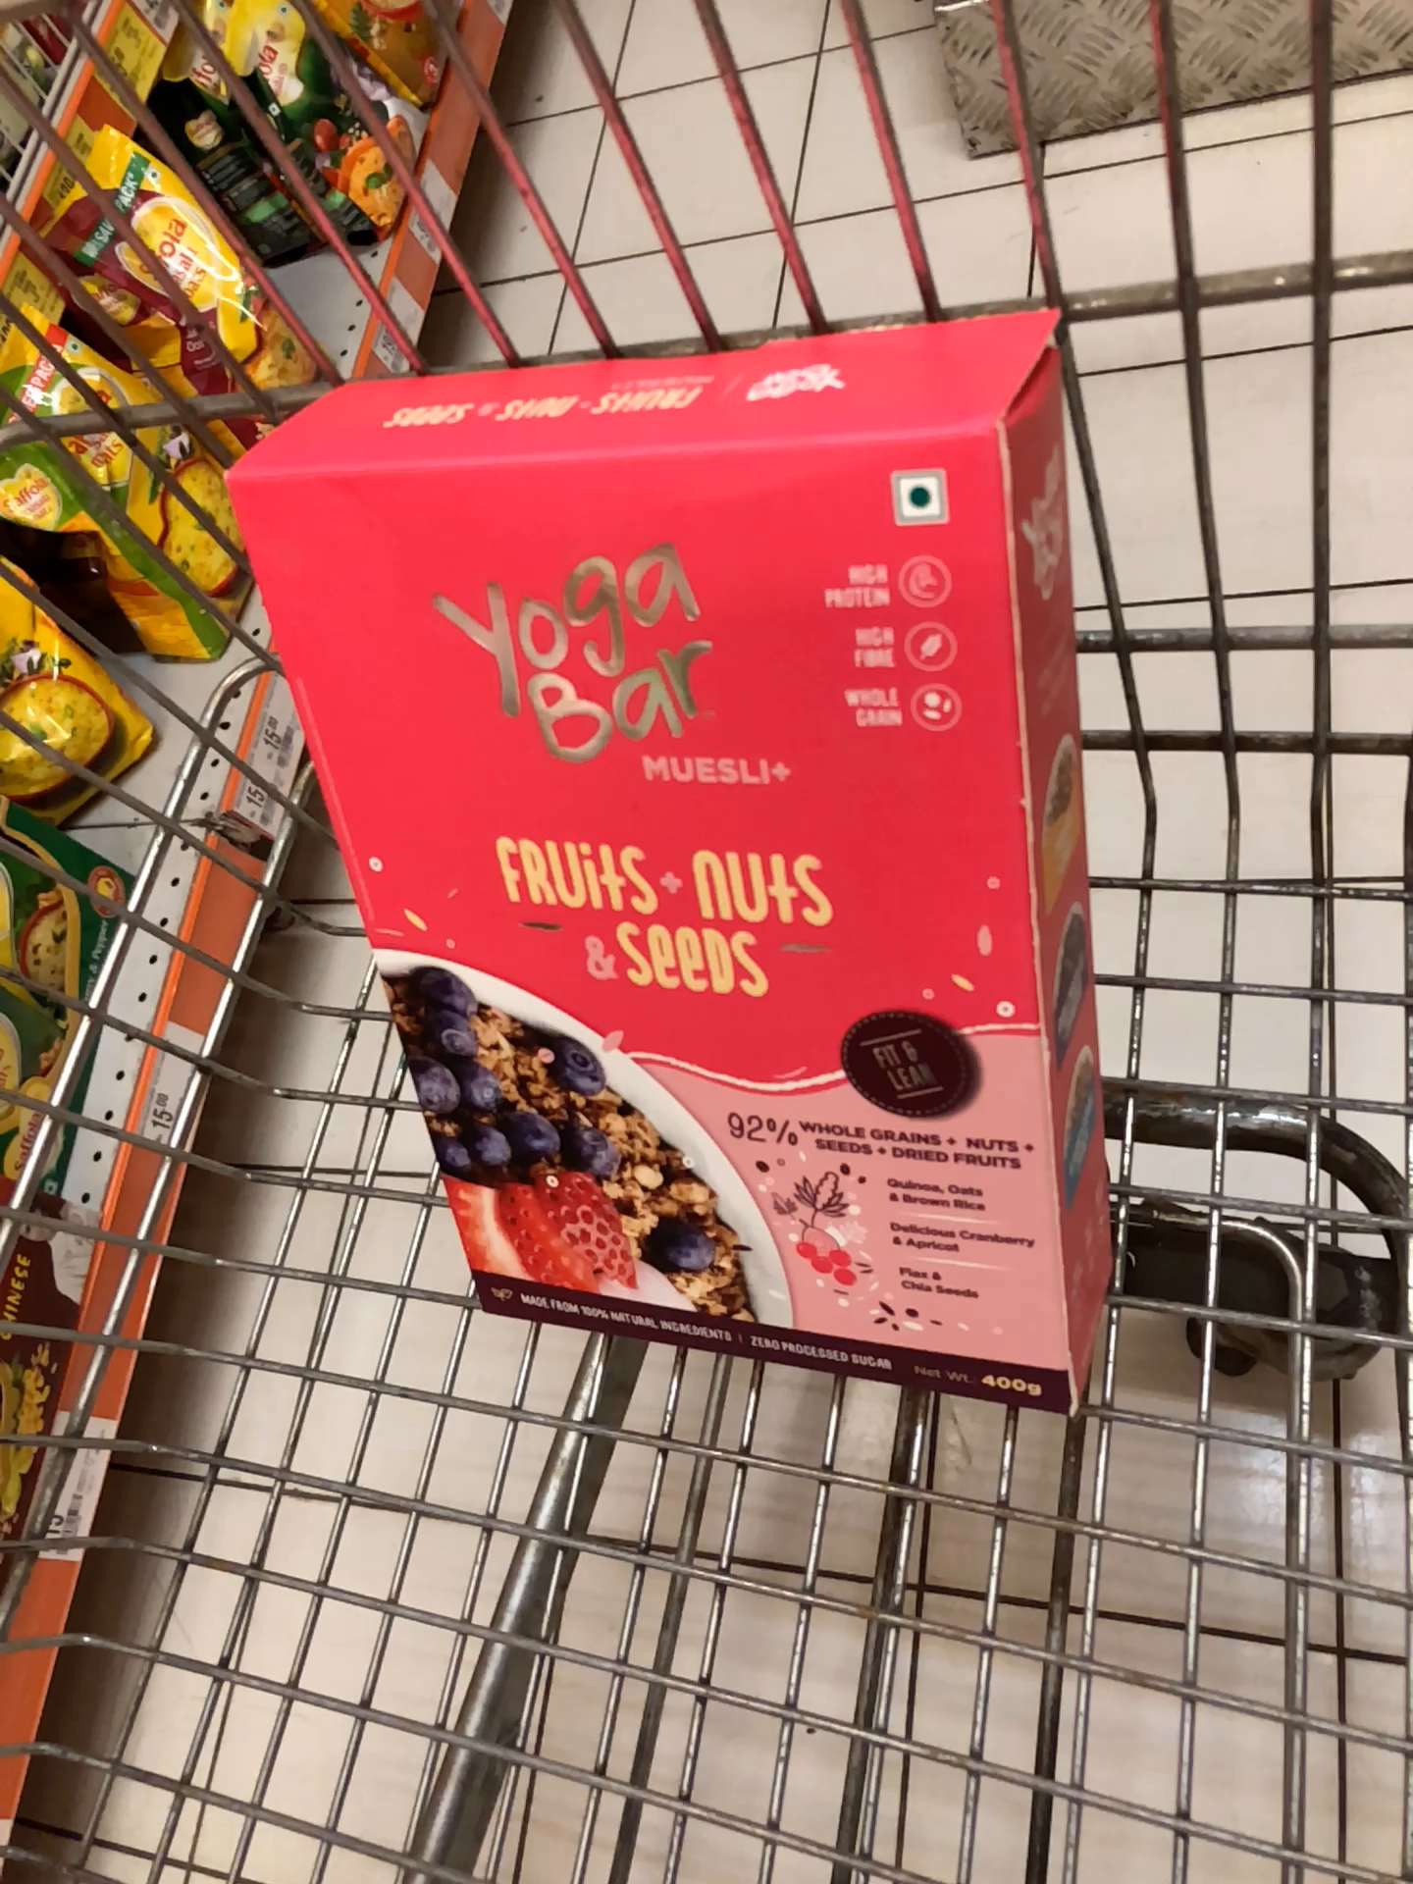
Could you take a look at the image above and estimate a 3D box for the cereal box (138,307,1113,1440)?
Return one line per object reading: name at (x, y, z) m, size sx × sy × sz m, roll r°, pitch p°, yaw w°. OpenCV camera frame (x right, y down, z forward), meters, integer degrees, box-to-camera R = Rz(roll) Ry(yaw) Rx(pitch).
cereal box at (-0.003, -0.005, 0.358) m, size 0.170 × 0.239 × 0.060 m, roll 4°, pitch 35°, yaw 24°
